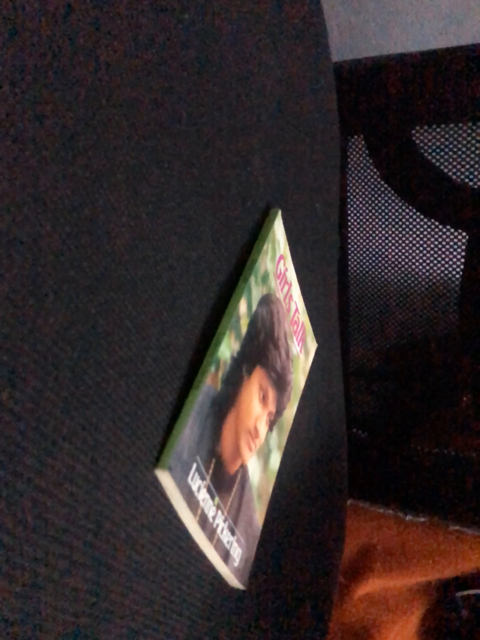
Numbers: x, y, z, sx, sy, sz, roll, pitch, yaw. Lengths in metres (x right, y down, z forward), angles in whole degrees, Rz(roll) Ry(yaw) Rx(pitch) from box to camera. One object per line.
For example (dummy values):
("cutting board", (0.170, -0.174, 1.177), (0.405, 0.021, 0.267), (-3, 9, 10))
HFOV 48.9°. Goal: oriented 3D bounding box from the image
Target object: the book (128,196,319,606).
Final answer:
("book", (0.009, 0.038, 0.311), (0.201, 0.010, 0.131), (-66, 148, -41))
